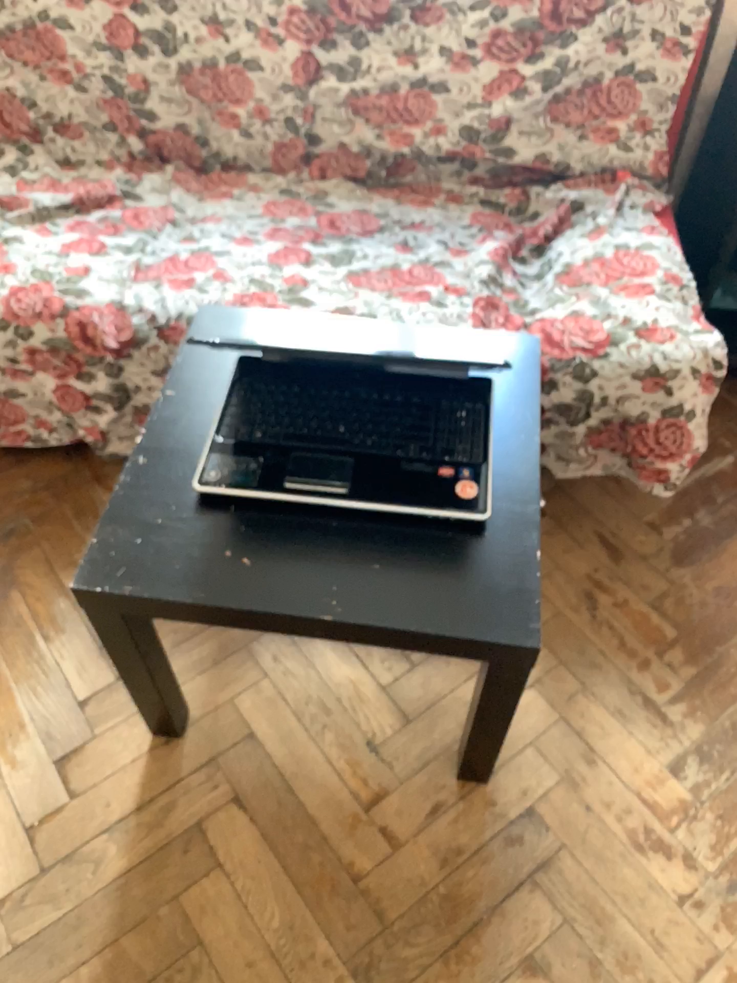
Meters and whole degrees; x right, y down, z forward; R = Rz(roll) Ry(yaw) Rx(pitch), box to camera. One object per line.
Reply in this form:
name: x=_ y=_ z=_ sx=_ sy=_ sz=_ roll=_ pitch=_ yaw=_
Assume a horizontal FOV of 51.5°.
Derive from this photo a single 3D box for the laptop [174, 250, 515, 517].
laptop: x=-0.015 y=-0.140 z=0.961 sx=0.364 sy=0.177 sz=0.253 roll=5 pitch=51 yaw=4
